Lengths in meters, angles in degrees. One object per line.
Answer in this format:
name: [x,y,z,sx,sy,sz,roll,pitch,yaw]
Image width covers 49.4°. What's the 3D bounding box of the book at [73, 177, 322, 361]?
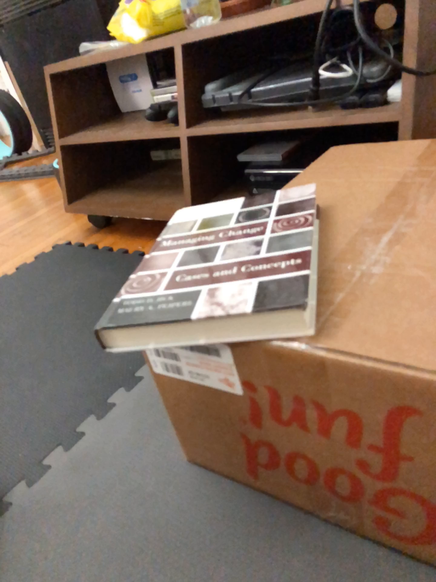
book: [0.003,-0.034,0.444,0.180,0.030,0.251,-6,31,17]
